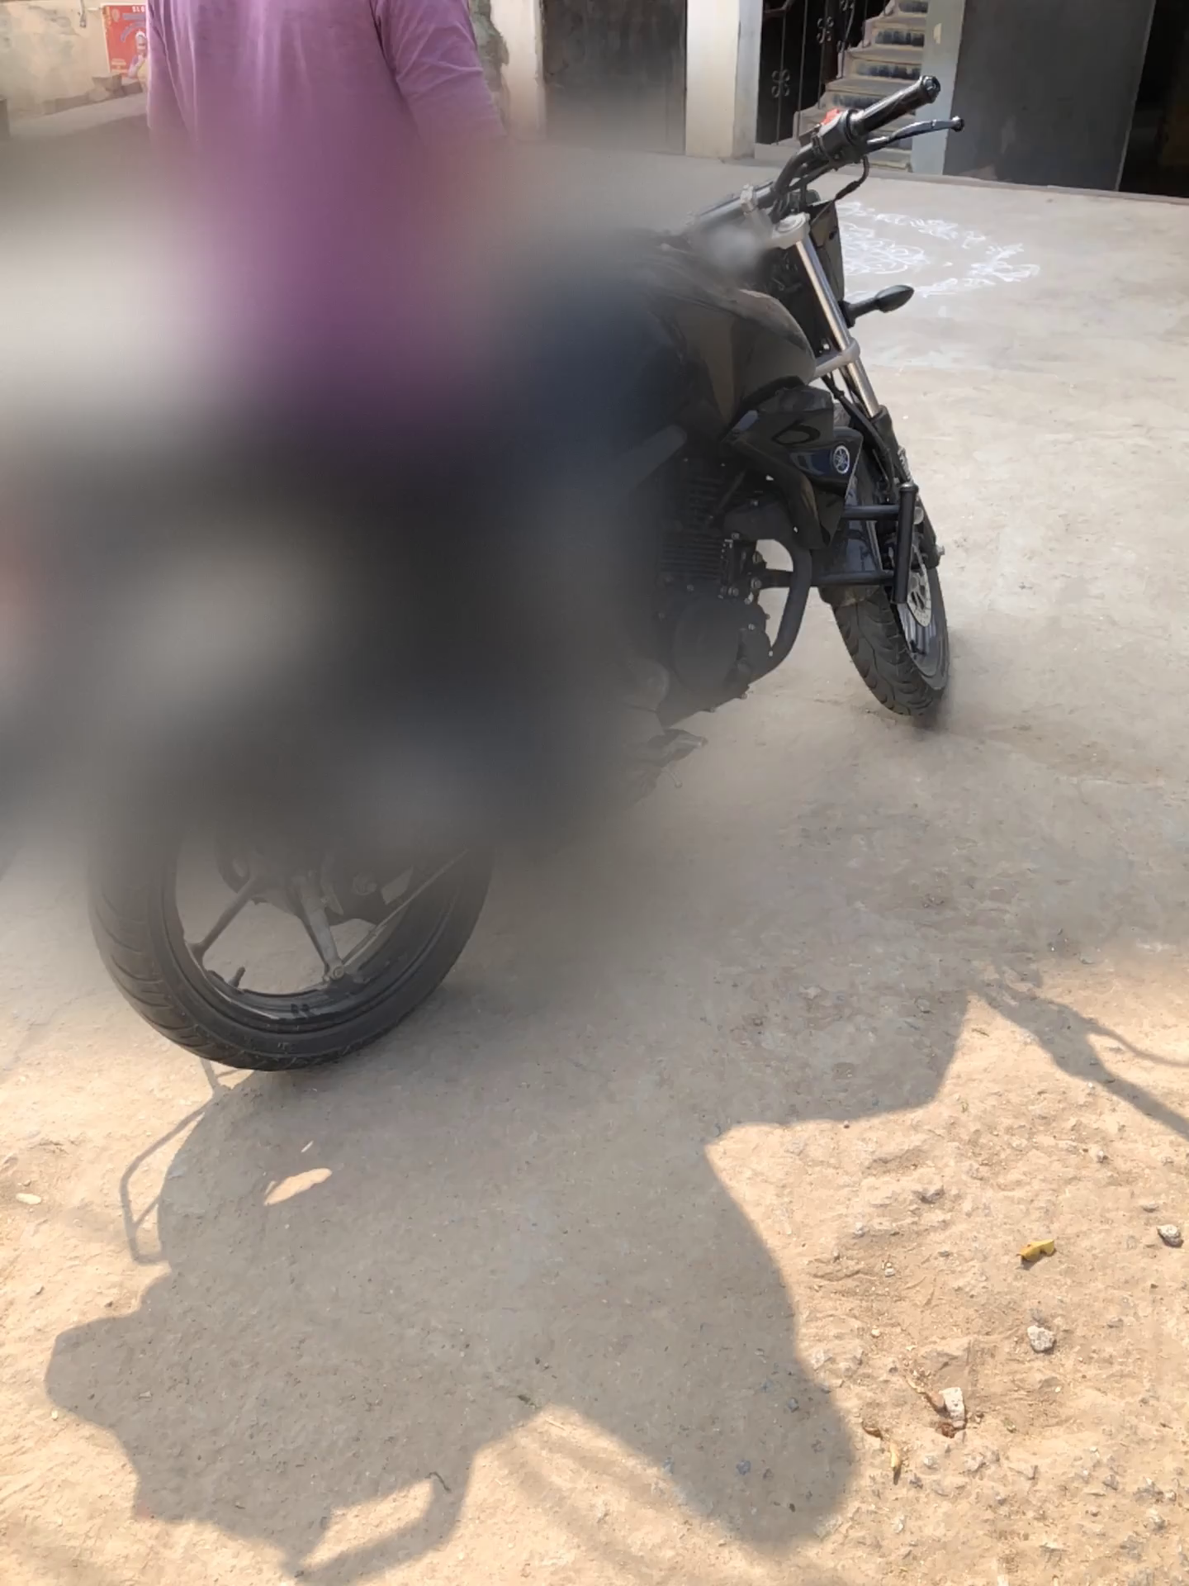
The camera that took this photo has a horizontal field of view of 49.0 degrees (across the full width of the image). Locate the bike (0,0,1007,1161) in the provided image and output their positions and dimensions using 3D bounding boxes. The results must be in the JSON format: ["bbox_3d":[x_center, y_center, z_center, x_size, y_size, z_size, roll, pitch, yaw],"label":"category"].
[{"bbox_3d":[-0.107,-0.522,1.970,0.683,0.959,1.696,23,44,31],"label":"bike"}]
